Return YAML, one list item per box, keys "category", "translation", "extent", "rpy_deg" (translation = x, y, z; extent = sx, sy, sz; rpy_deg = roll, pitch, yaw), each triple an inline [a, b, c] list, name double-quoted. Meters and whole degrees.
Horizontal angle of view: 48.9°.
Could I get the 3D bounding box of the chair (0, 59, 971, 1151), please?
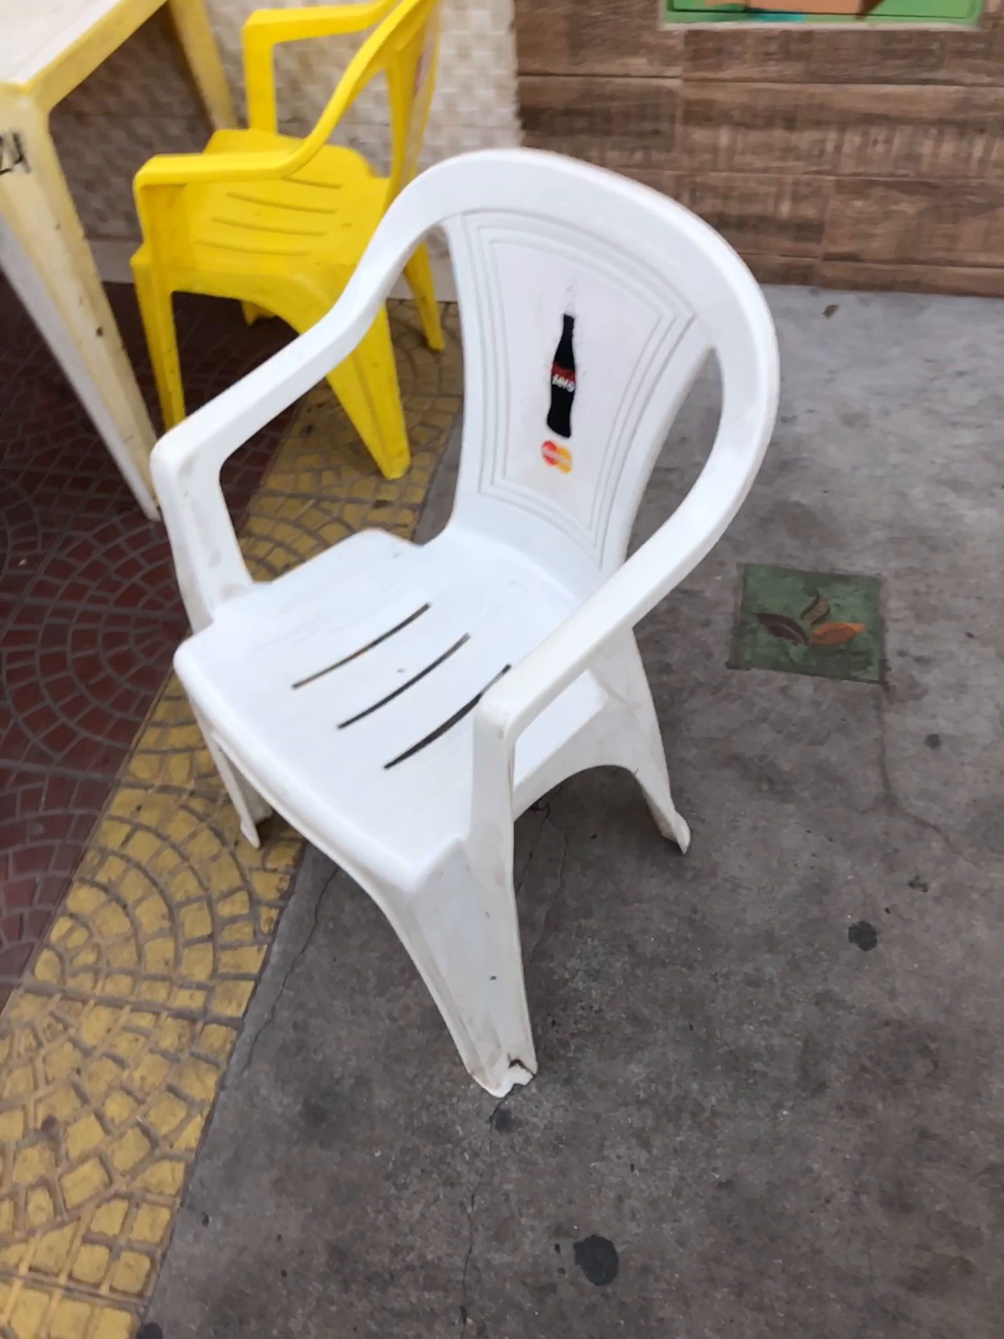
- category: "chair"
  translation: [-0.052, -0.058, 1.139]
  extent: [0.552, 0.745, 0.642]
  rpy_deg: [-38, 57, -23]
